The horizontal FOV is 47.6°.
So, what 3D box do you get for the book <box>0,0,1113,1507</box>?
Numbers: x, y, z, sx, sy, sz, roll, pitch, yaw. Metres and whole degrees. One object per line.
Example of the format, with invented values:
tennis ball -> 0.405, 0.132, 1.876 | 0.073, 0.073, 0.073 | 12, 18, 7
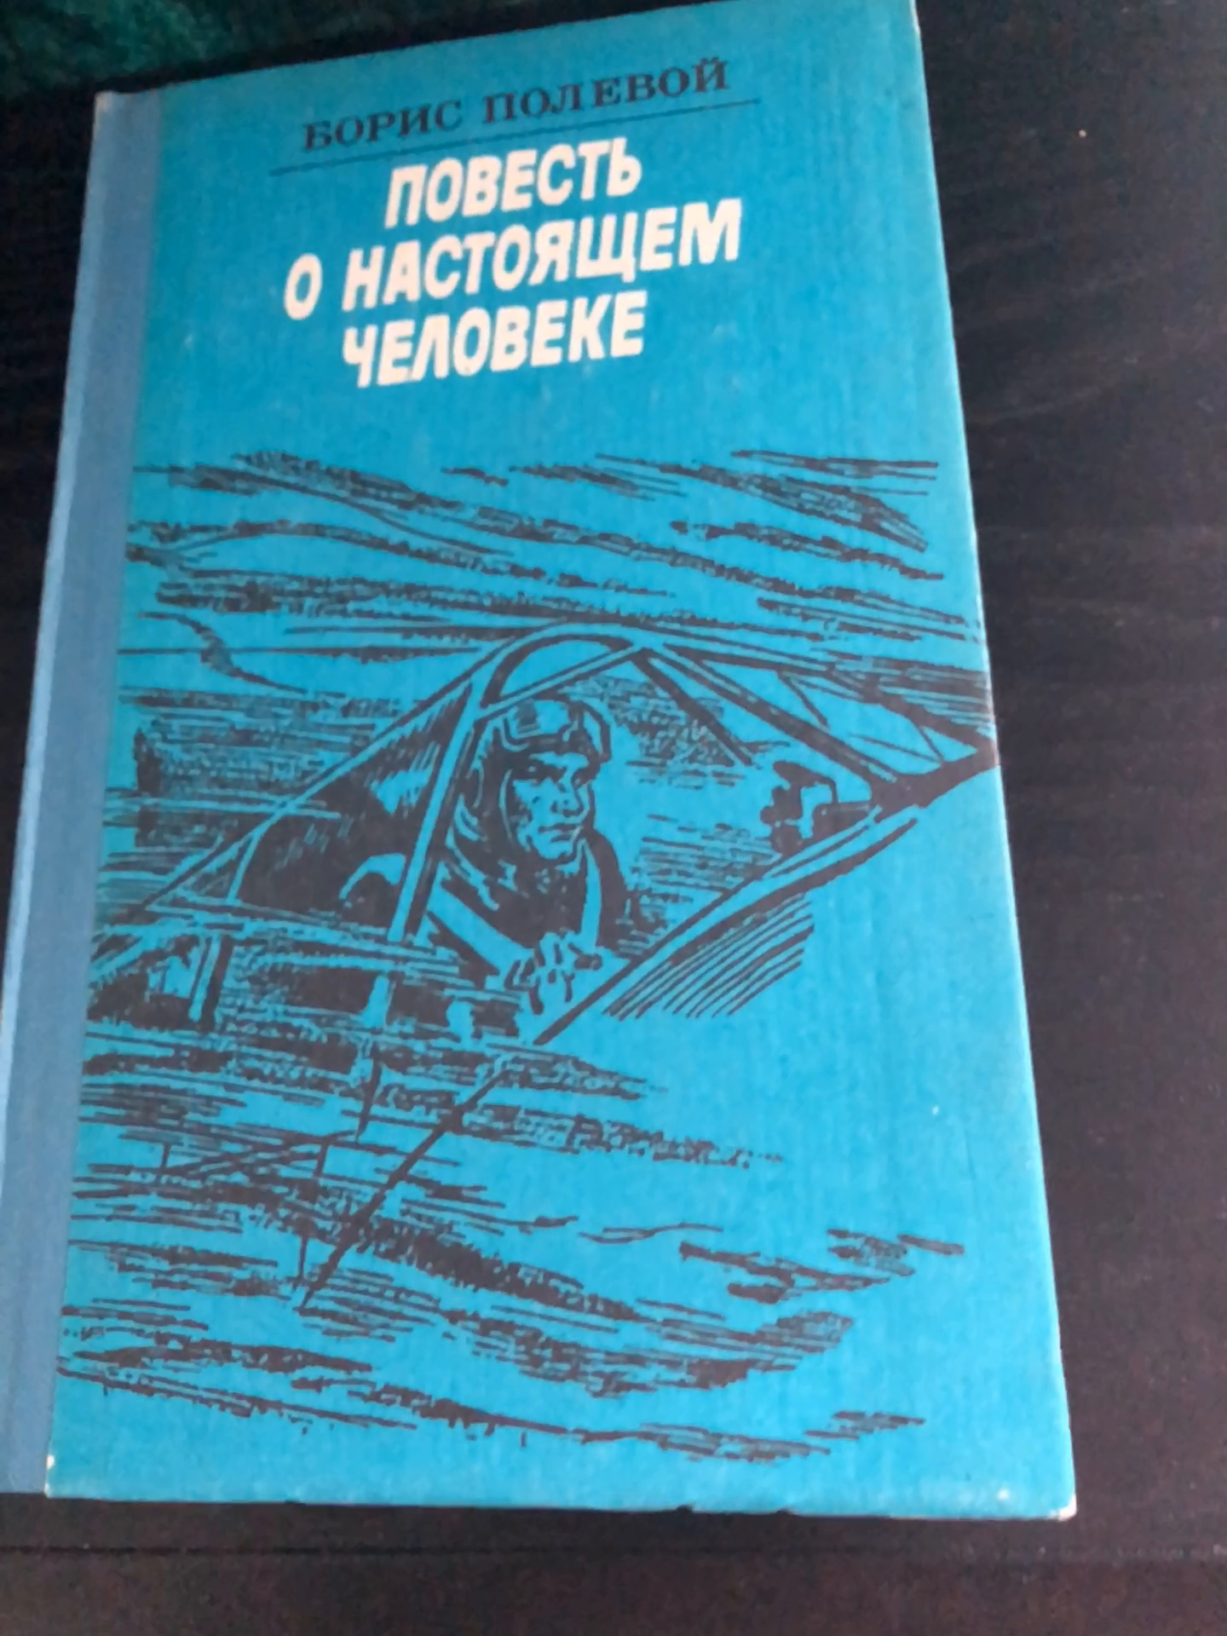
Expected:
book -> -0.015, -0.021, 0.175 | 0.123, 0.020, 0.191 | -4, 73, 9
